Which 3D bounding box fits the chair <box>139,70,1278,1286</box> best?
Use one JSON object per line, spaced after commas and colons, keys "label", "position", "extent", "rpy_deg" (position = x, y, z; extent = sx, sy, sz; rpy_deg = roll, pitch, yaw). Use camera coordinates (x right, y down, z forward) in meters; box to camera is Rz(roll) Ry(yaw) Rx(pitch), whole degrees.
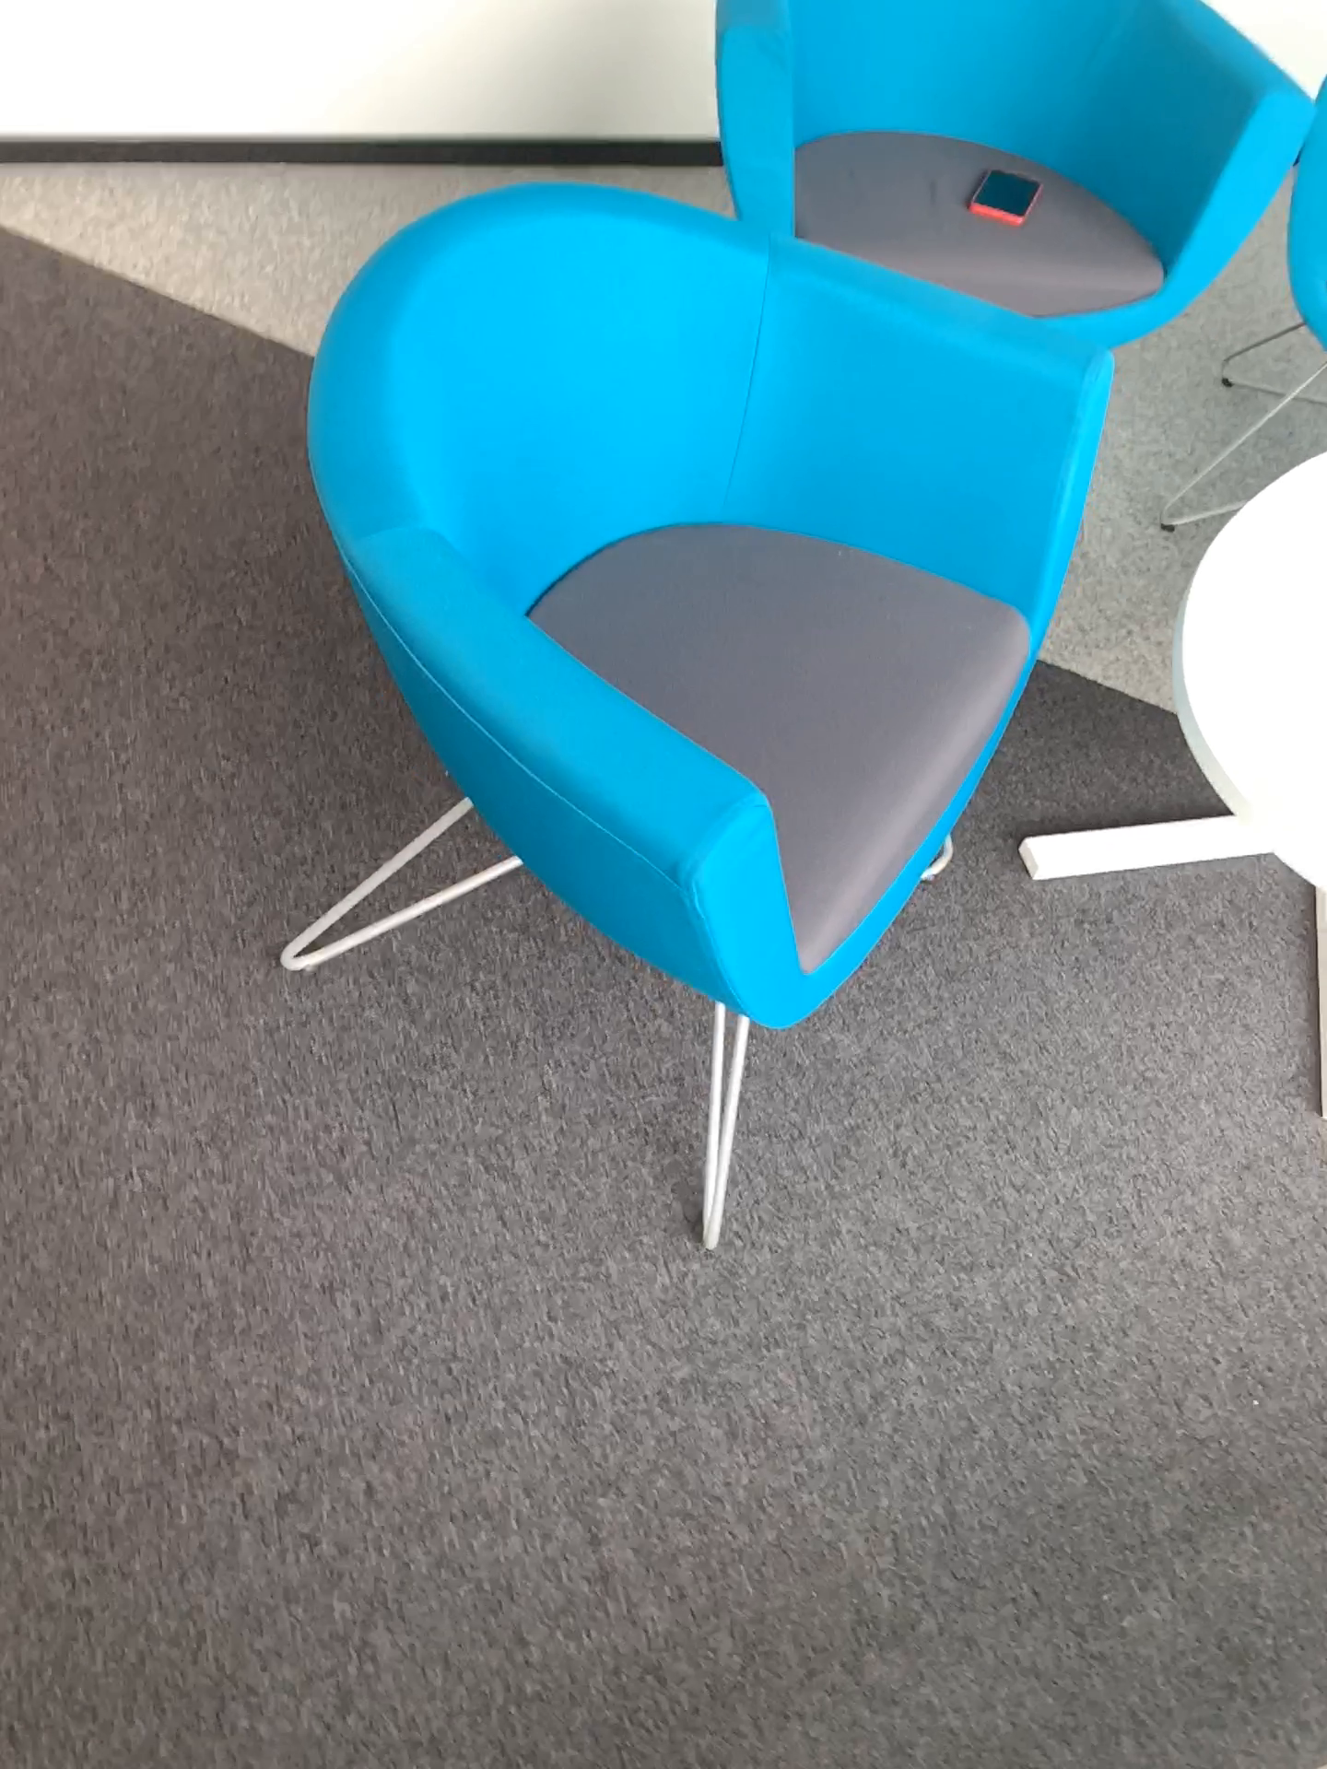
{"label": "chair", "position": [0.035, -0.197, 1.362], "extent": [0.640, 0.756, 0.713], "rpy_deg": [31, 54, 12]}
